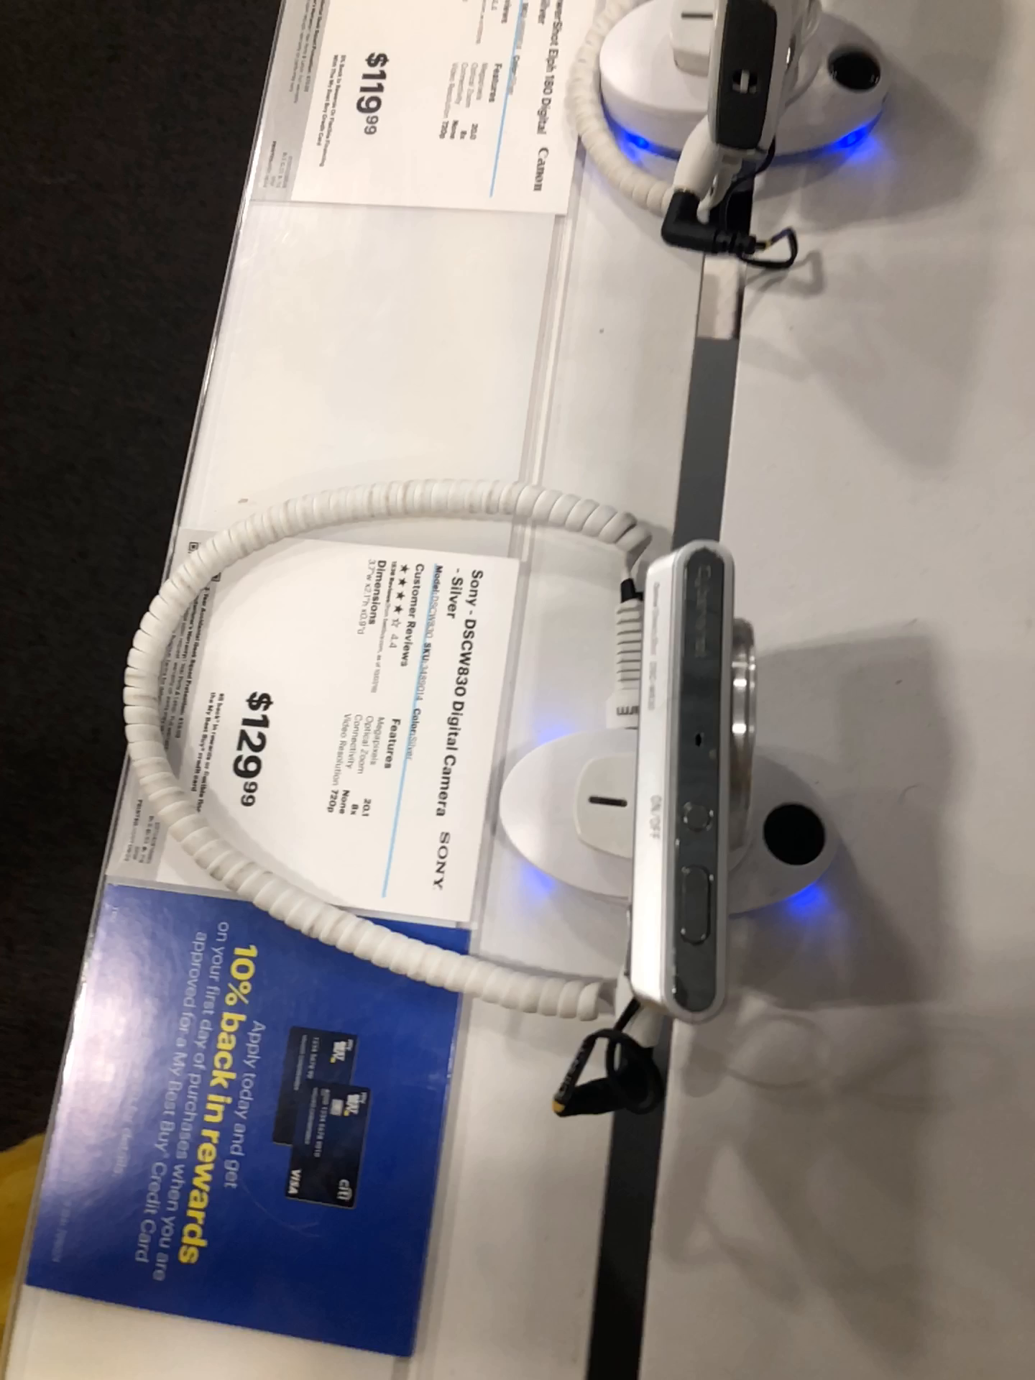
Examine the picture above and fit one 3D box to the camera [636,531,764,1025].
[{"bbox_3d":[0.038,0.022,0.243,0.020,0.070,0.090,3,76,7],"label":"camera"}]
